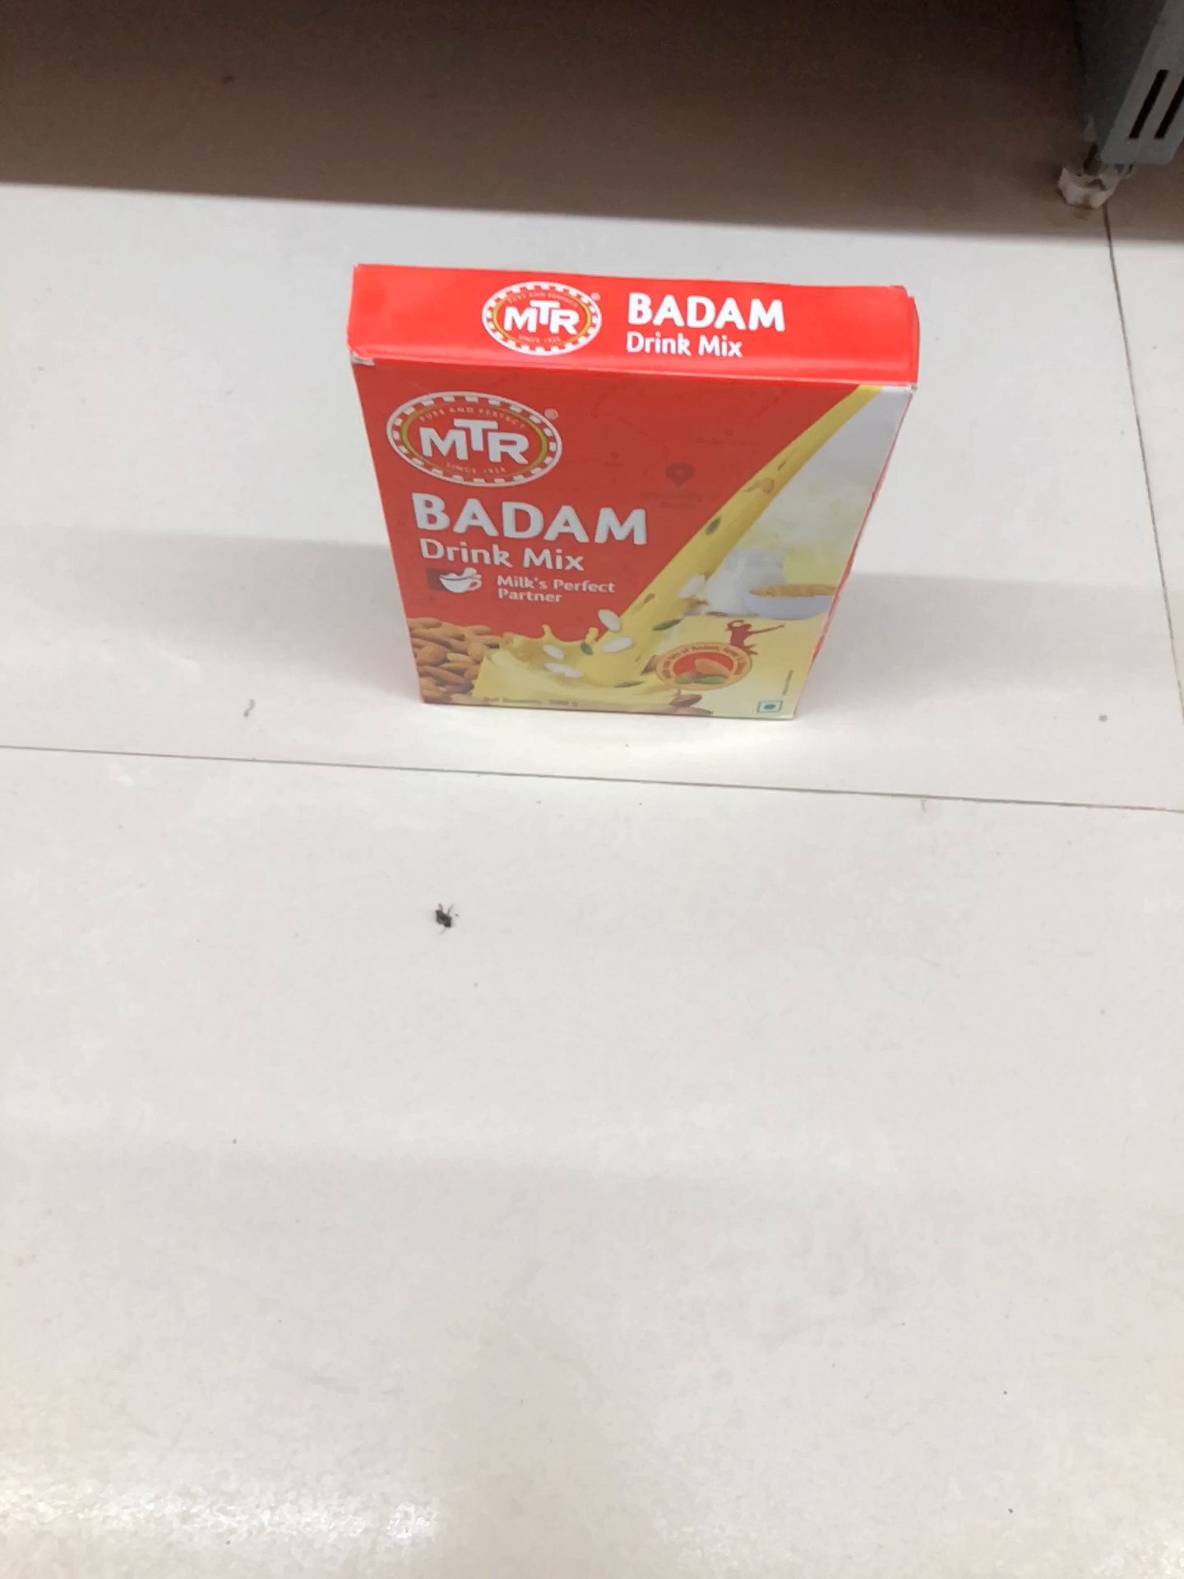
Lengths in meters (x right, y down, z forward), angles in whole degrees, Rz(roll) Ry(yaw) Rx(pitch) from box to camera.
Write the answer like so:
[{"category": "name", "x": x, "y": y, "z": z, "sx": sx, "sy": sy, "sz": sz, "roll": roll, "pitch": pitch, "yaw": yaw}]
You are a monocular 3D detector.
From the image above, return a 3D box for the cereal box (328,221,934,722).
[{"category": "cereal box", "x": 0.008, "y": -0.075, "z": 0.362, "sx": 0.130, "sy": 0.159, "sz": 0.040, "roll": 2, "pitch": 65, "yaw": 0}]
